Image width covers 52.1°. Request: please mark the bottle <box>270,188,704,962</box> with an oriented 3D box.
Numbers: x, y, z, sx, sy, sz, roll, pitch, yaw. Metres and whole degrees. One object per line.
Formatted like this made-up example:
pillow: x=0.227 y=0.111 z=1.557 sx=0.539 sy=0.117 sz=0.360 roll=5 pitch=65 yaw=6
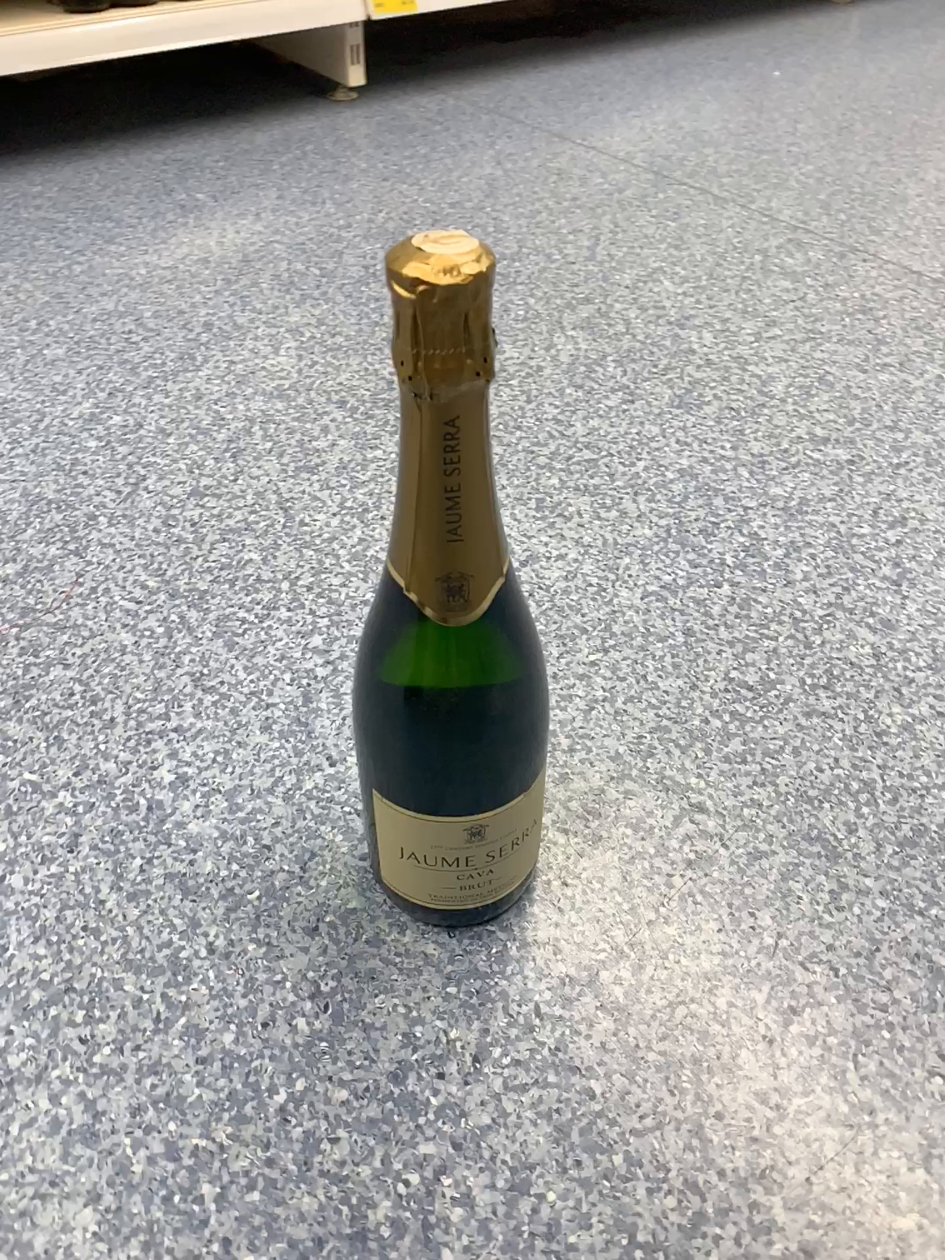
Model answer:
bottle: x=-0.002 y=-0.002 z=0.385 sx=0.104 sy=0.291 sz=0.106 roll=0 pitch=43 yaw=0
